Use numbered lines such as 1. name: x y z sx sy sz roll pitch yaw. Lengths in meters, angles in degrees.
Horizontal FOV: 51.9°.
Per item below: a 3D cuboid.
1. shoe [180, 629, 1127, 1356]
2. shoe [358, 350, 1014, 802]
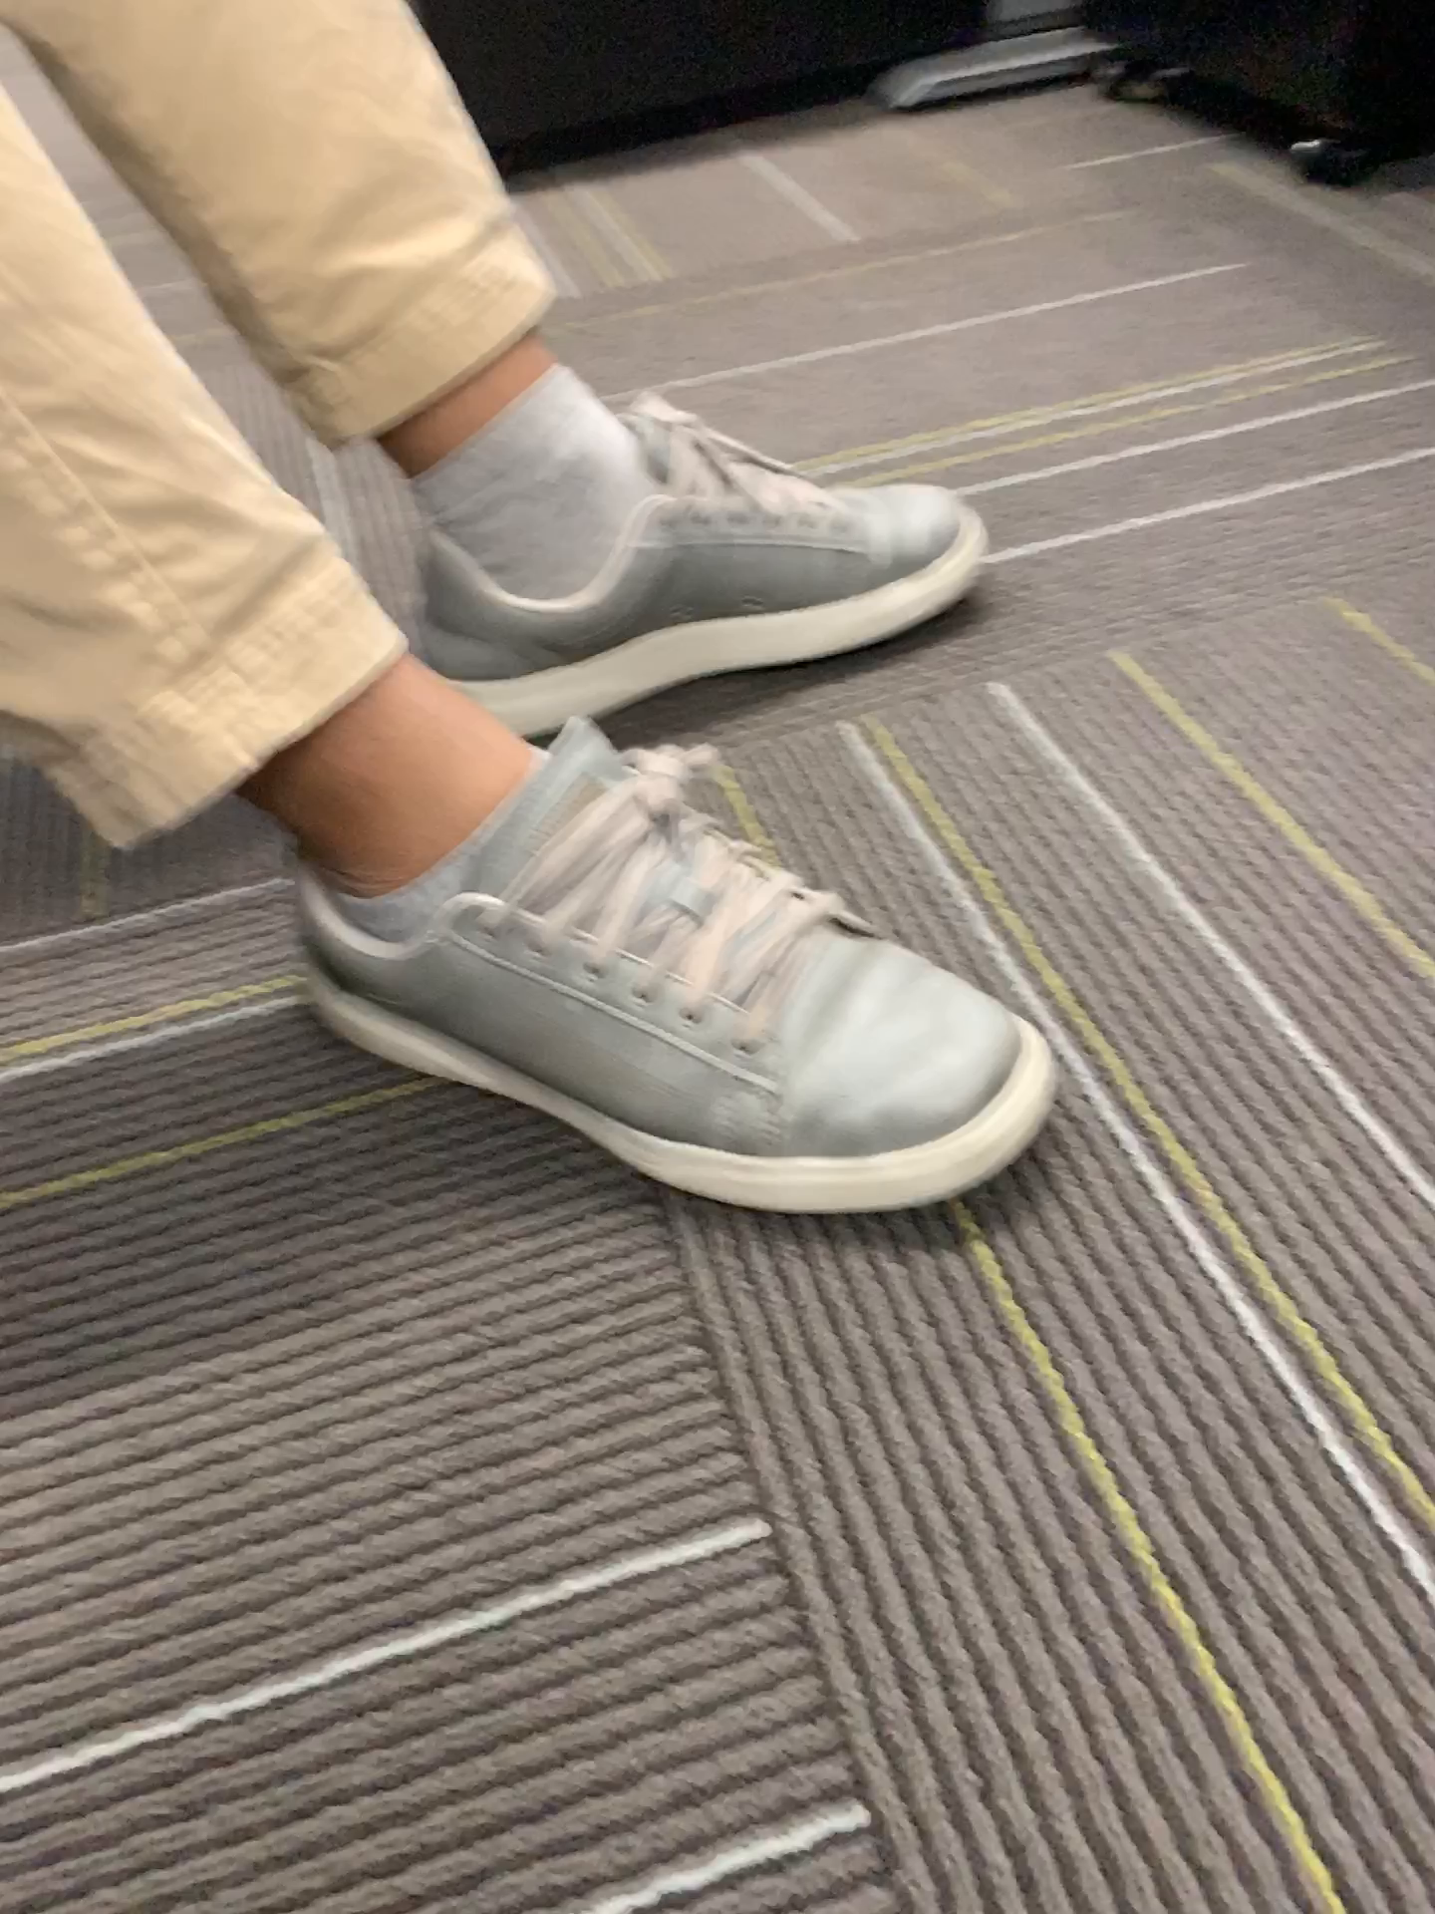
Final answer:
1. shoe: -0.018 0.001 0.502 0.271 0.139 0.120 16 47 23
2. shoe: -0.014 -0.189 0.715 0.280 0.109 0.121 -17 43 -10
